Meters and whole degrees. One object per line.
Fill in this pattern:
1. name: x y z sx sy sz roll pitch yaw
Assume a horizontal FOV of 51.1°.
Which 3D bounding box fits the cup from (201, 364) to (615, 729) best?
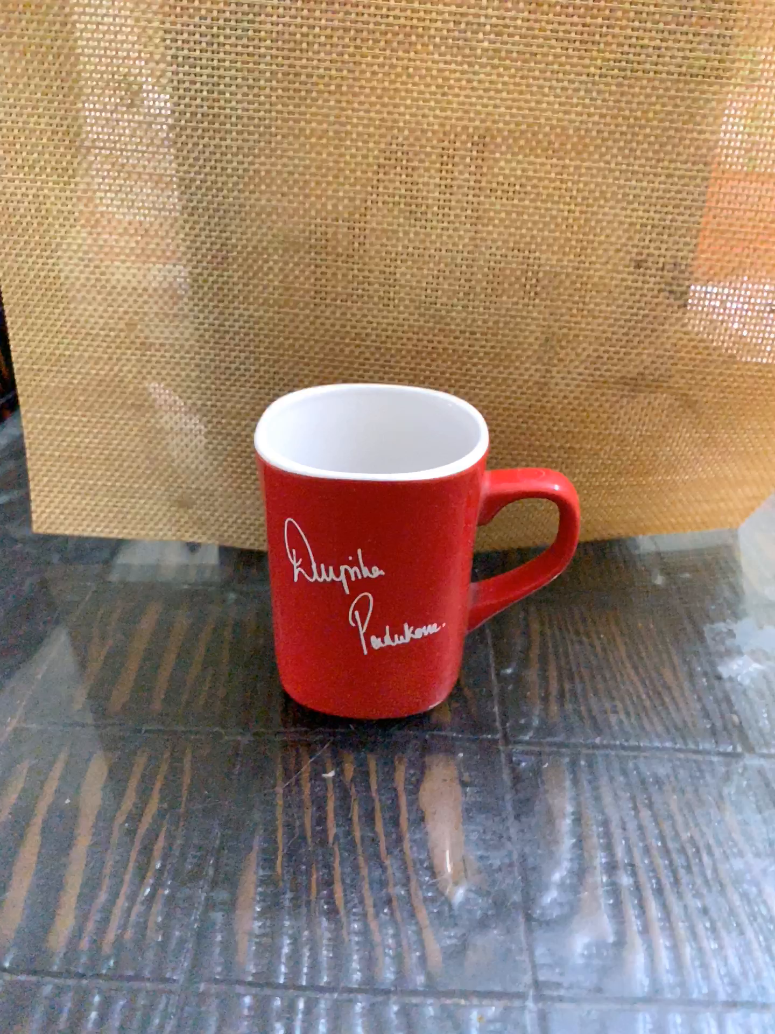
1. cup: 0.007 0.006 0.246 0.100 0.079 0.071 3 30 4
